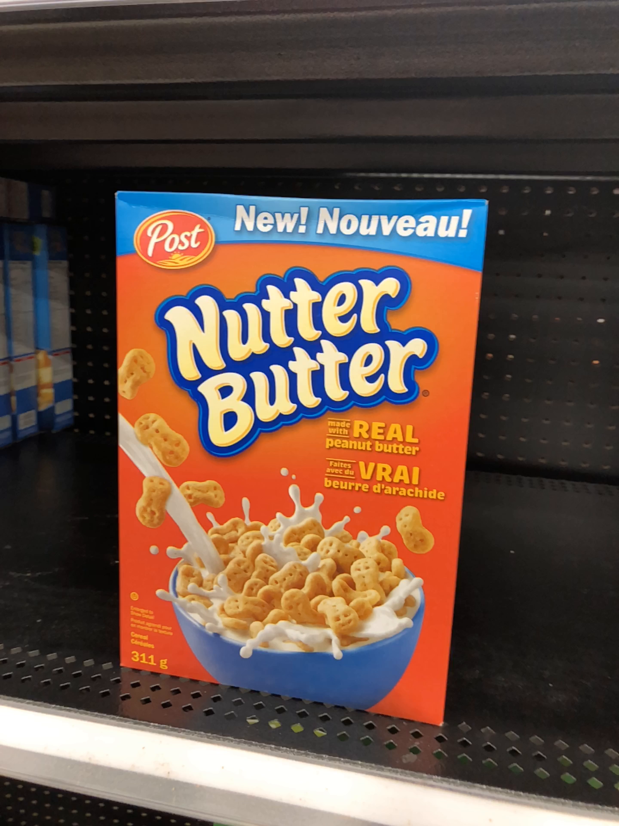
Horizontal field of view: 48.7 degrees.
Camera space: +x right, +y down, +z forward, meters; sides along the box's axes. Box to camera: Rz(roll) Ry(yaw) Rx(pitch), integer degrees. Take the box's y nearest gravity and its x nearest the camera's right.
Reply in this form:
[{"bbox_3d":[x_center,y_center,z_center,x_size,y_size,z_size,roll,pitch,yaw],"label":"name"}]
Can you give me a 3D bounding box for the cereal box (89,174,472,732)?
[{"bbox_3d":[-0.018,0.017,0.383,0.190,0.279,0.060,5,12,13],"label":"cereal box"}]
